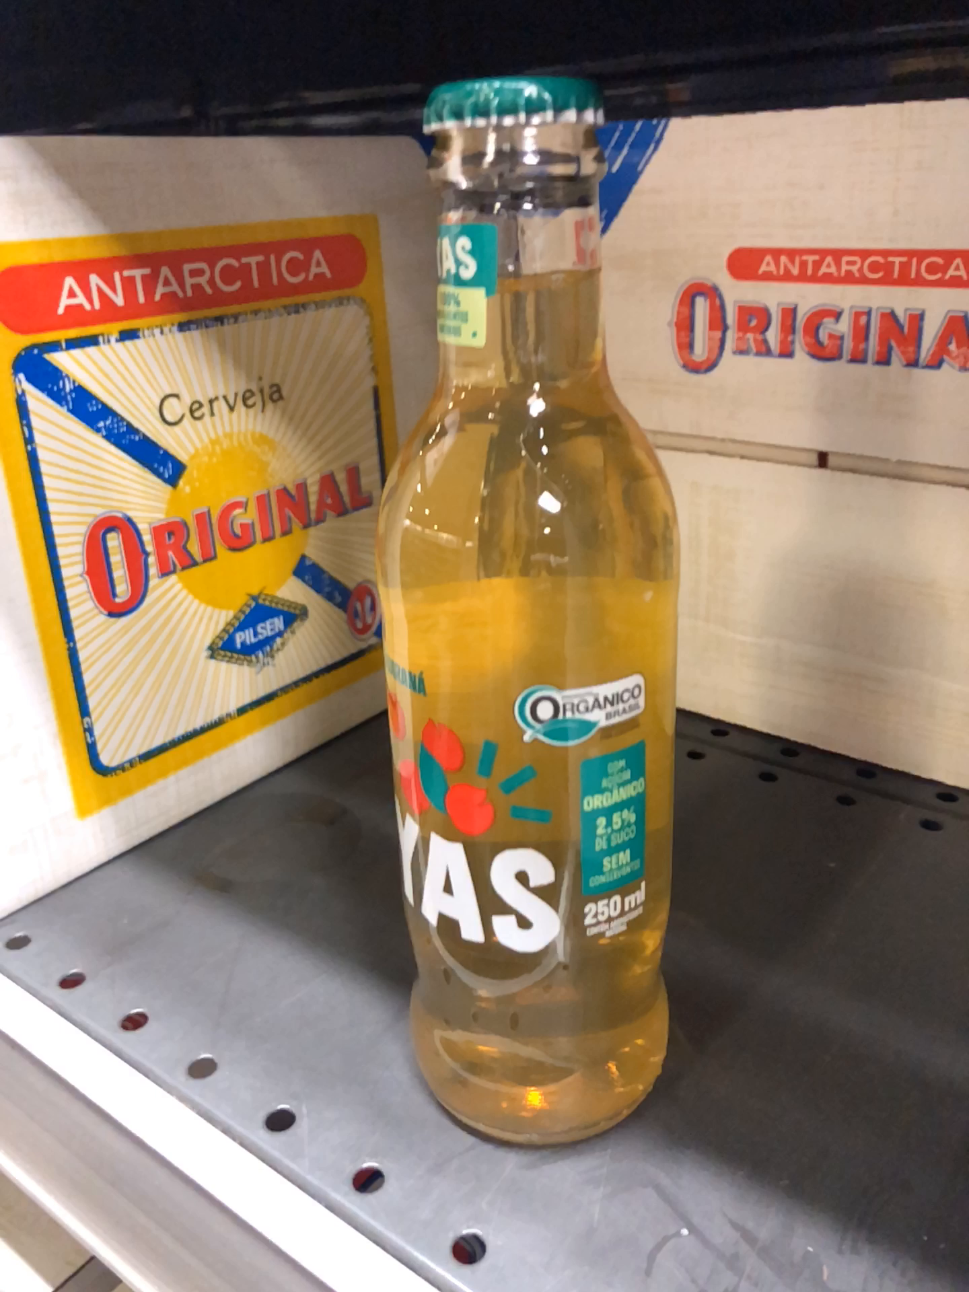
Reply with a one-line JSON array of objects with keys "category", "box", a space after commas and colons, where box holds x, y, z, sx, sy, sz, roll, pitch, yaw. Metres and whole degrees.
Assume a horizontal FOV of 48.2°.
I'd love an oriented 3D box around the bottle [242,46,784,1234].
[{"category": "bottle", "box": [0.011, 0.004, 0.205, 0.060, 0.199, 0.060, -3, 23, 1]}]
